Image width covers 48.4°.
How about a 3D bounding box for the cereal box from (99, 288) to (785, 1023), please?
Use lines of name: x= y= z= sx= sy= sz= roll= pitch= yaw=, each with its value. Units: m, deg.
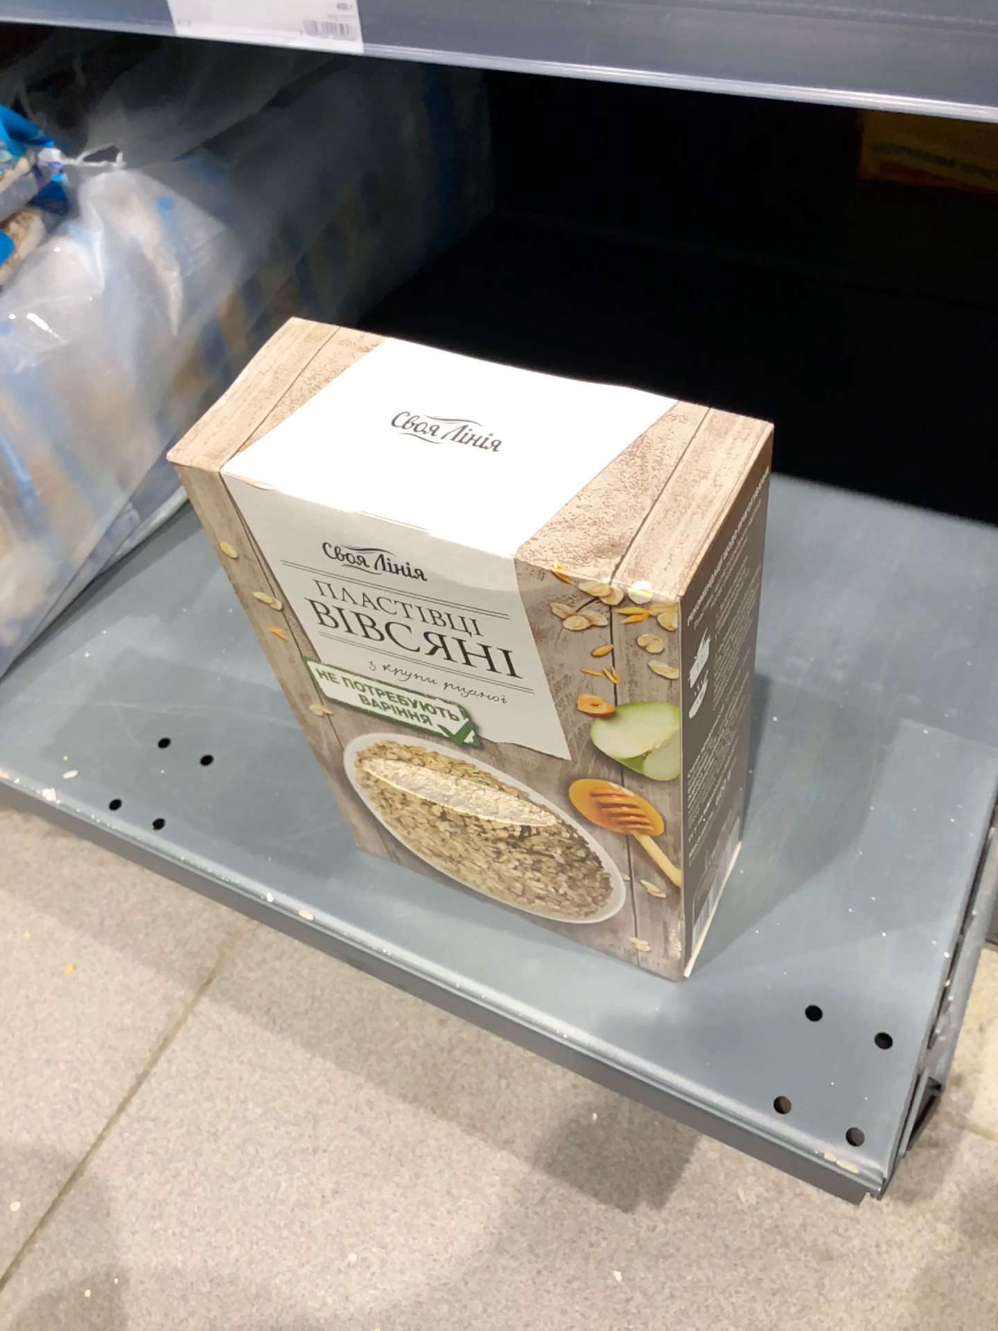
cereal box: x=-0.002 y=0.012 z=0.354 sx=0.150 sy=0.228 sz=0.070 roll=19 pitch=58 yaw=22
